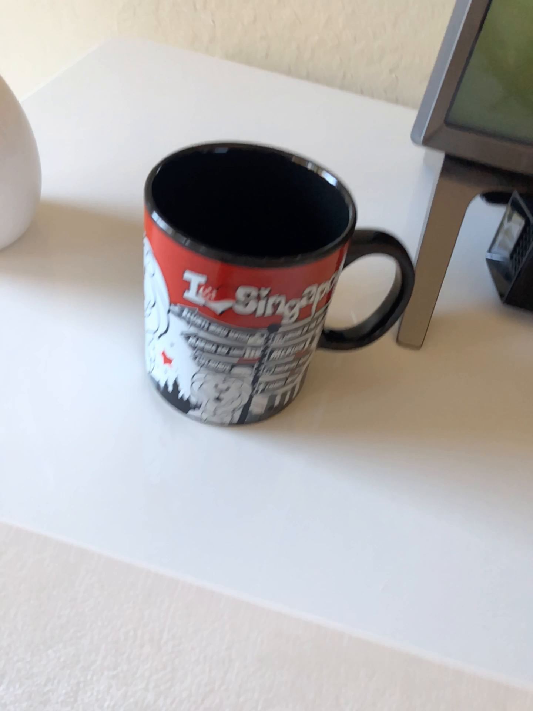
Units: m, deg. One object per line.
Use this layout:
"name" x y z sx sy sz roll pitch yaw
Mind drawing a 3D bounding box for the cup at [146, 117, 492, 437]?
"cup" 0.008 -0.030 0.267 0.120 0.110 0.080 1 47 -12
